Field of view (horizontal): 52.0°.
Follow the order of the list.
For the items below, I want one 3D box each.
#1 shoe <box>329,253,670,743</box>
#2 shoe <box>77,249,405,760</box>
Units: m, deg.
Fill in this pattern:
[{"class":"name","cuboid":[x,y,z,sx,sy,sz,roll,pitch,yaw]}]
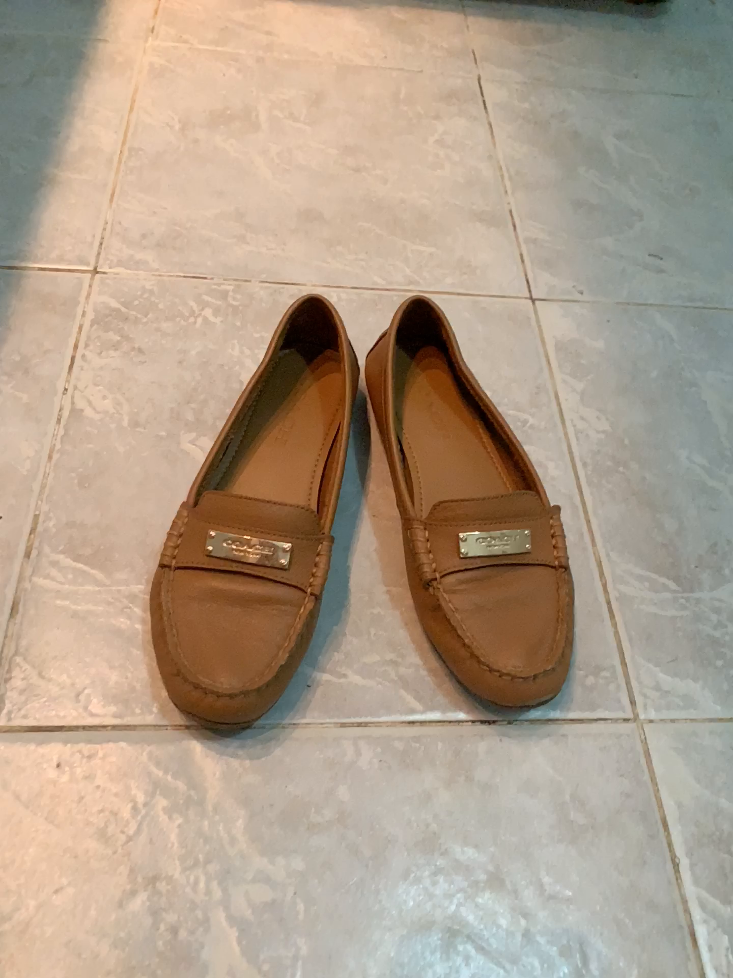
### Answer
[{"class":"shoe","cuboid":[0.049,-0.010,0.386,0.085,0.071,0.243,-8,58,-12]},{"class":"shoe","cuboid":[-0.046,-0.006,0.374,0.083,0.071,0.244,13,56,1]}]
